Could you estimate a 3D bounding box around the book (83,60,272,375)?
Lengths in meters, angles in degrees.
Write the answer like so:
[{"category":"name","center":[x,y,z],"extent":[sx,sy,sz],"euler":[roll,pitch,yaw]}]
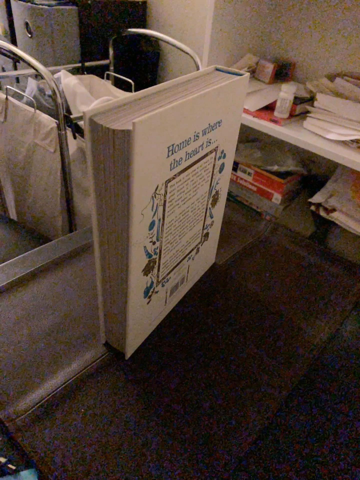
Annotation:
[{"category":"book","center":[0.002,-0.025,0.390],"extent":[0.050,0.268,0.211],"euler":[25,40,24]}]
